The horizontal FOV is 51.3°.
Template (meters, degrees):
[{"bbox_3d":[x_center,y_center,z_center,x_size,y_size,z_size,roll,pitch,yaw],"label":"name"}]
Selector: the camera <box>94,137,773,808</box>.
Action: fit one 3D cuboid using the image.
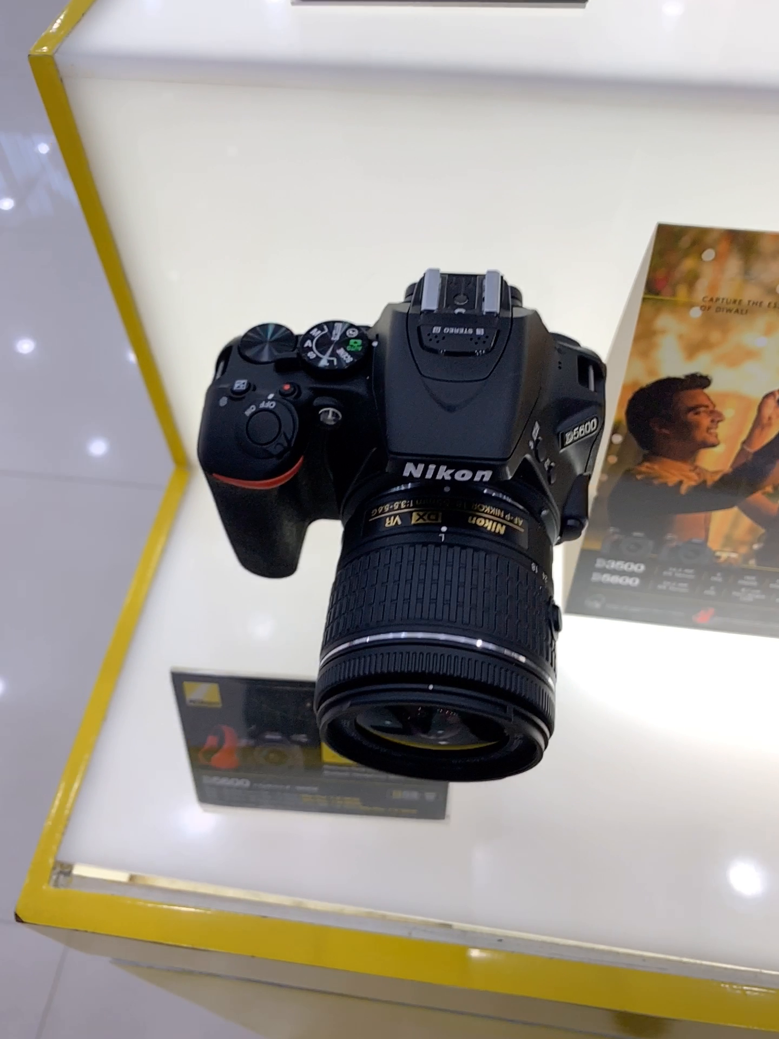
[{"bbox_3d":[0.014,-0.019,0.227,0.120,0.090,0.160,3,54,4],"label":"camera"}]
